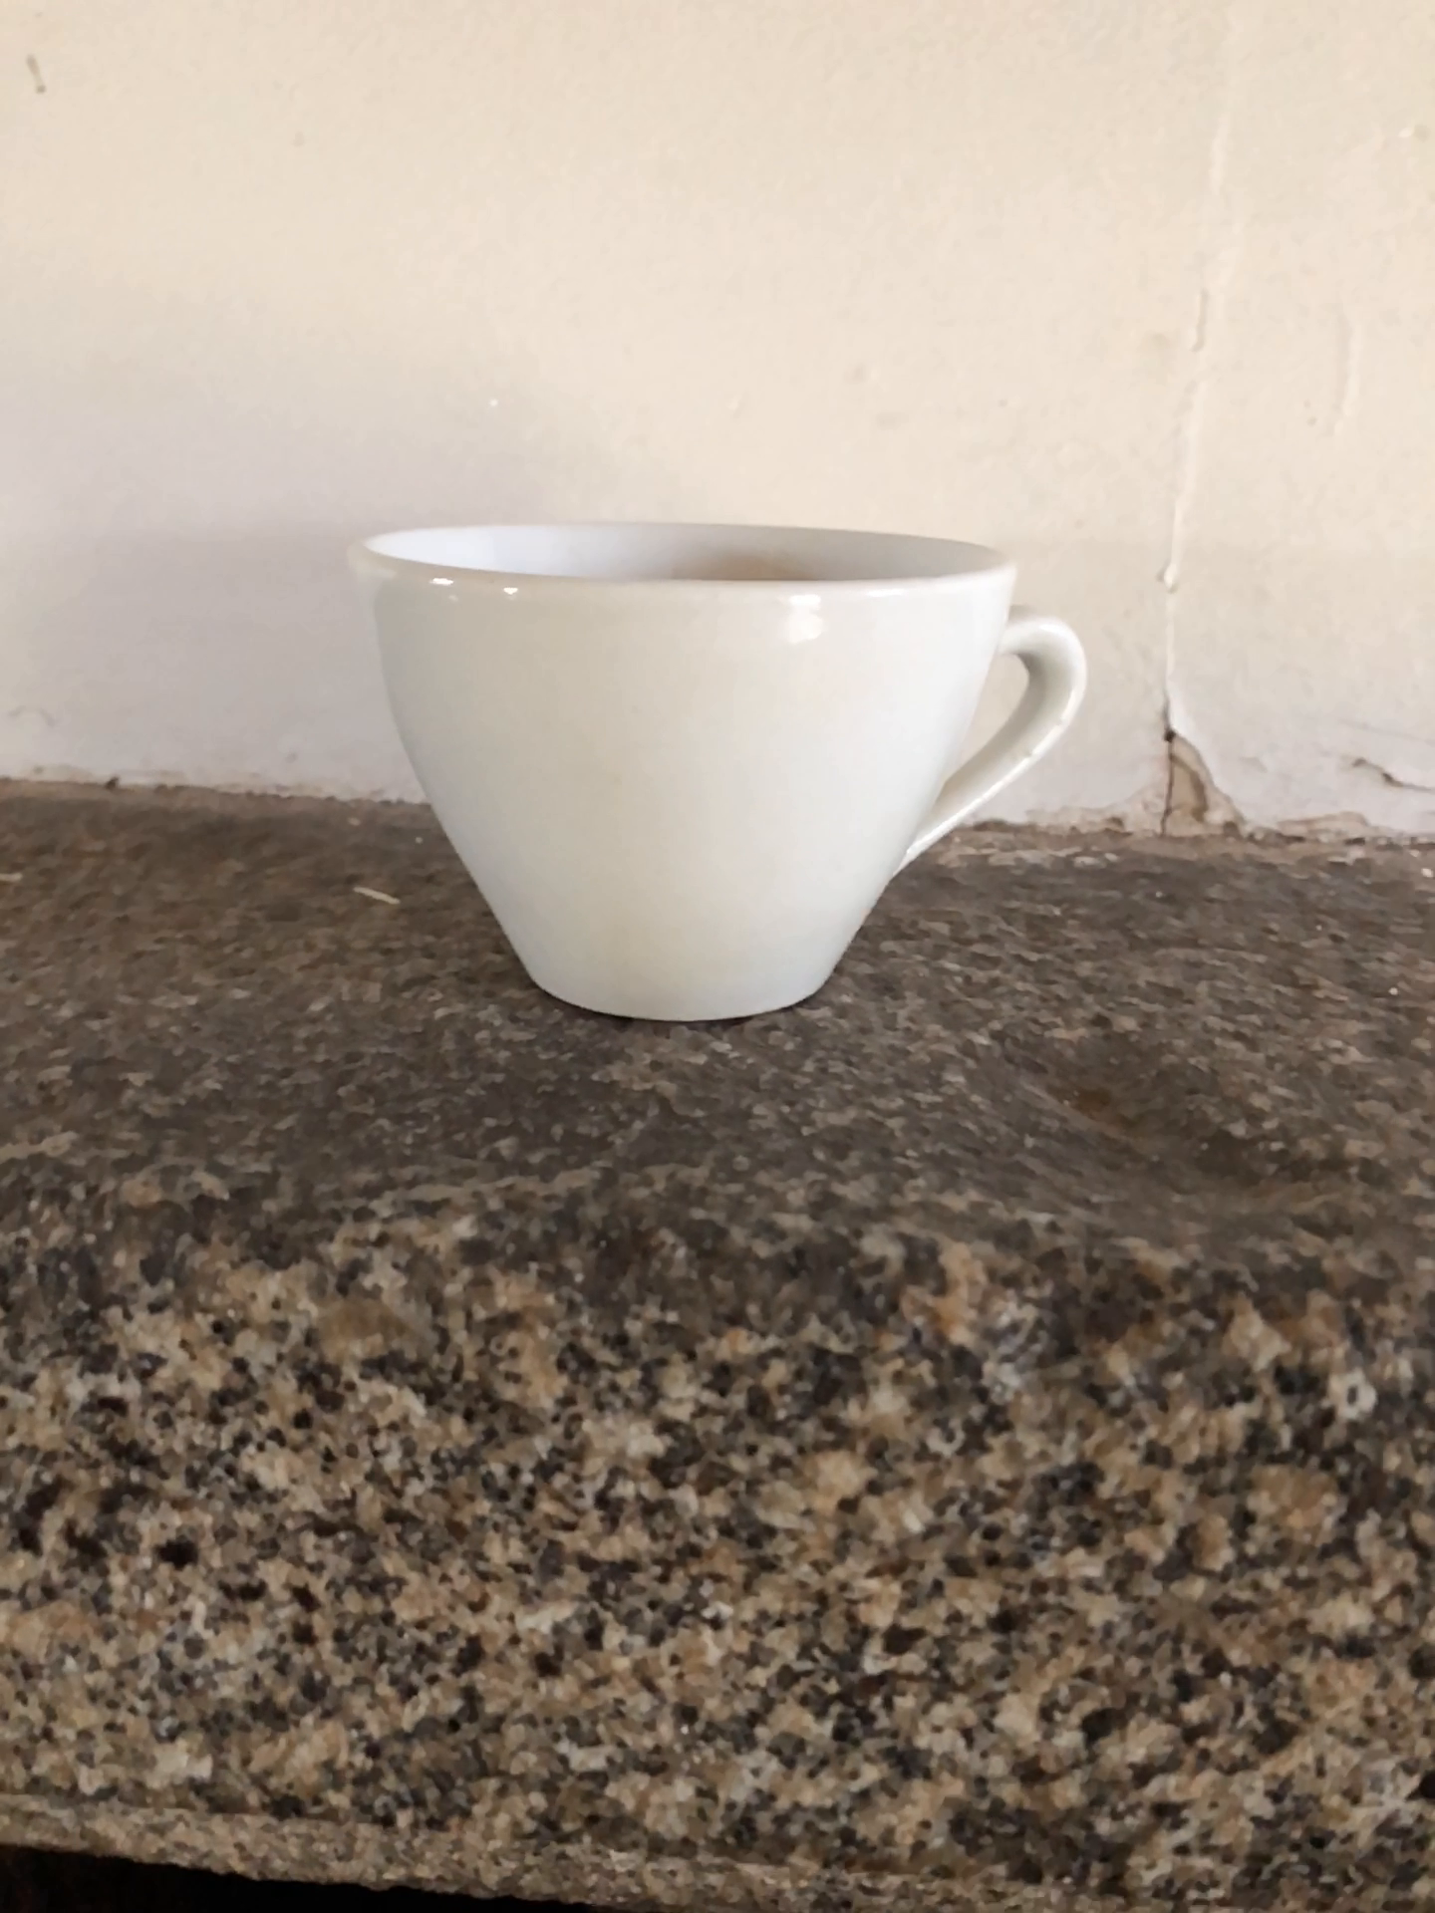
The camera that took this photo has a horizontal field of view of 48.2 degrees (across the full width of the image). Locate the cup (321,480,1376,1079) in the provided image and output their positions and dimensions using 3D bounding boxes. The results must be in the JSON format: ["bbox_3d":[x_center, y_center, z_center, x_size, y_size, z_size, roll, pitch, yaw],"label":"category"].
[{"bbox_3d":[0.010,-0.030,0.199,0.100,0.050,0.080,-7,21,-22],"label":"cup"}]
